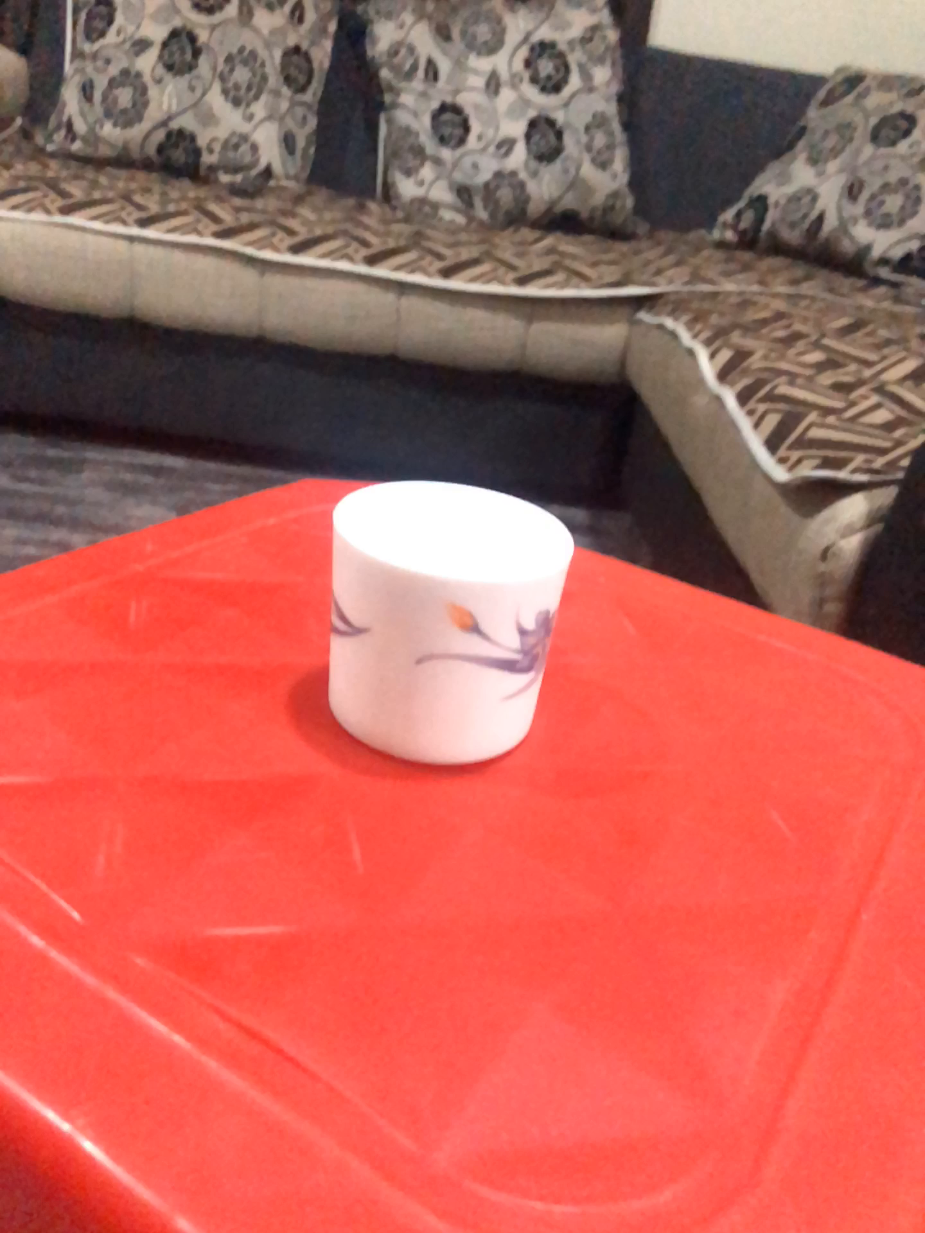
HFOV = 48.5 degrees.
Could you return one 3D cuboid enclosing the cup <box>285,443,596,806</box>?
[{"bbox_3d":[-0.004,-0.003,0.294,0.070,0.060,0.090,9,26,1],"label":"cup"}]
